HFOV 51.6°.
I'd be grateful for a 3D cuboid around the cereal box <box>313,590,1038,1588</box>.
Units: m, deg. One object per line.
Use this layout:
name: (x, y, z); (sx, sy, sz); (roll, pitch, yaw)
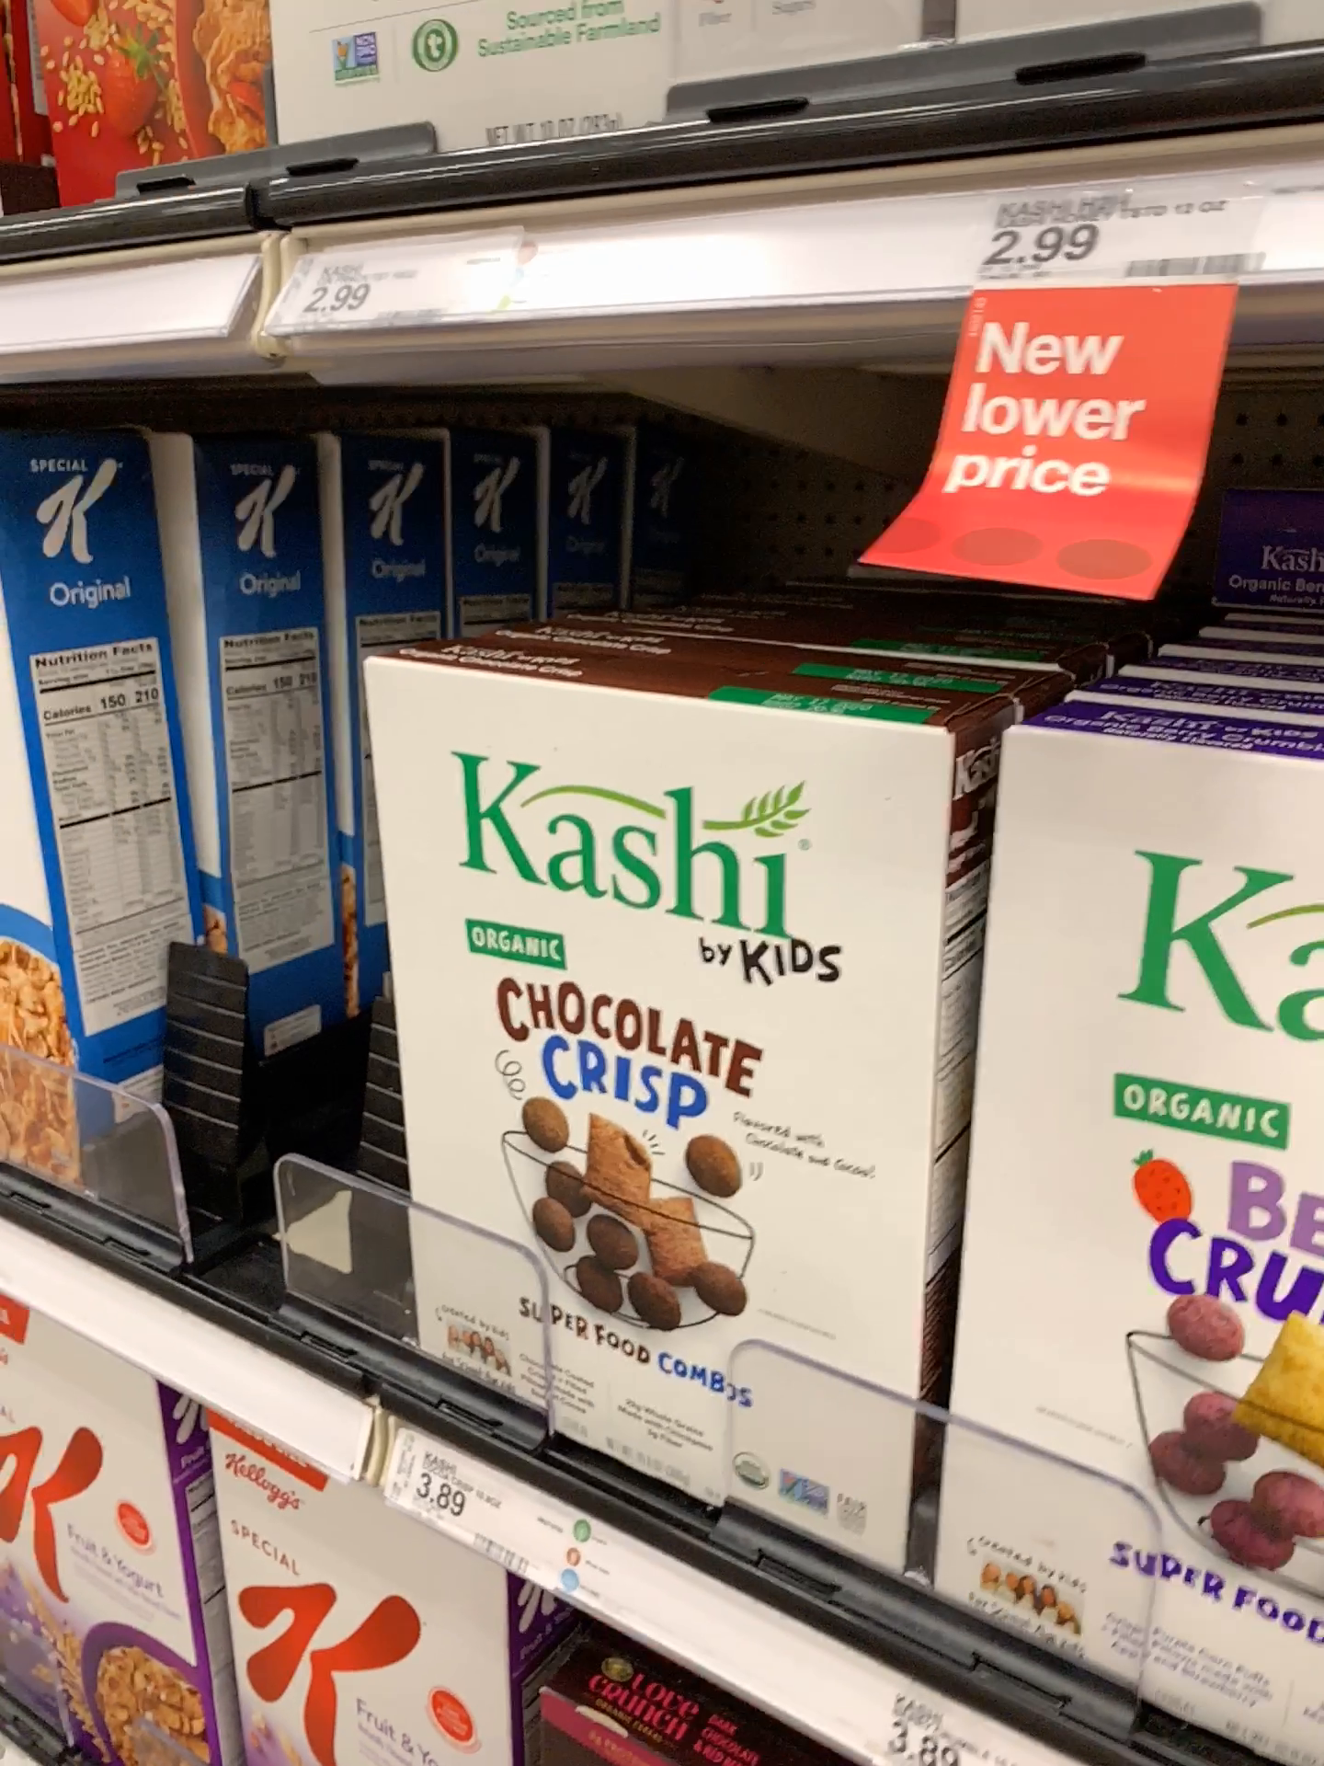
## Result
cereal box: (-0.002, 0.051, 0.422); (0.200, 0.259, 0.060); (11, 22, 31)
